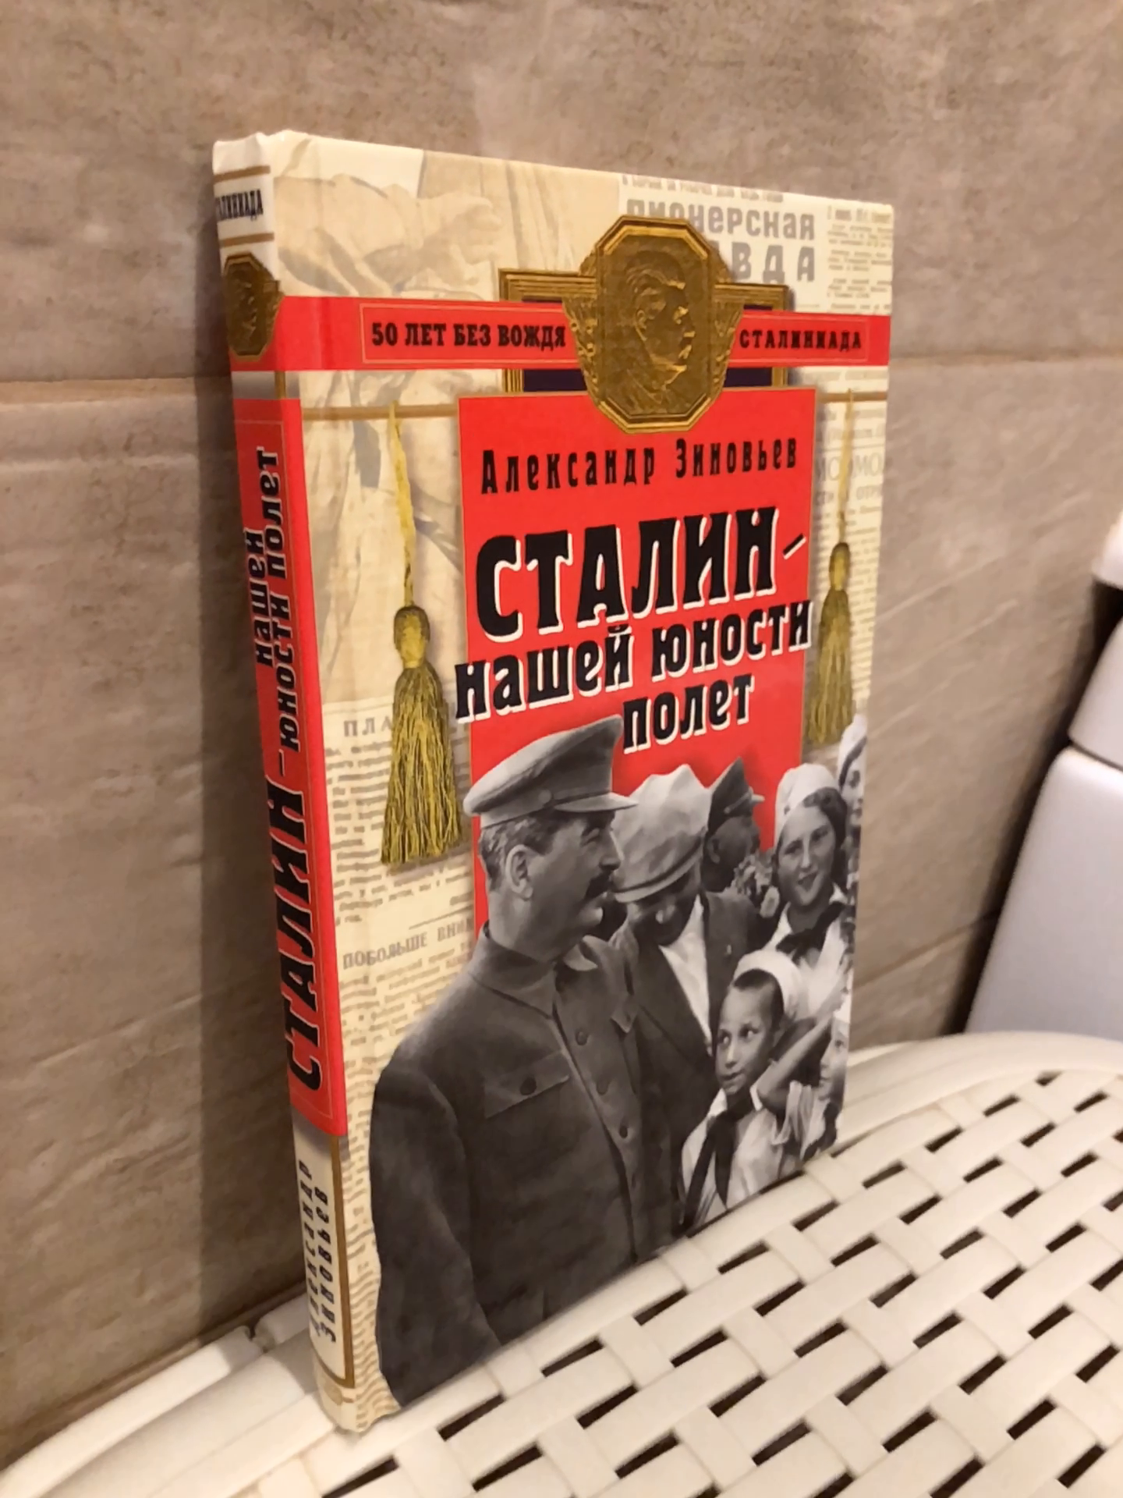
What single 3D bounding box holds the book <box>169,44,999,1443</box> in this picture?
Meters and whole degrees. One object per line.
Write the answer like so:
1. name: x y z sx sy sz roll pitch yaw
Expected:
1. book: 0.013 -0.001 0.223 0.140 0.199 0.030 -13 22 -36
